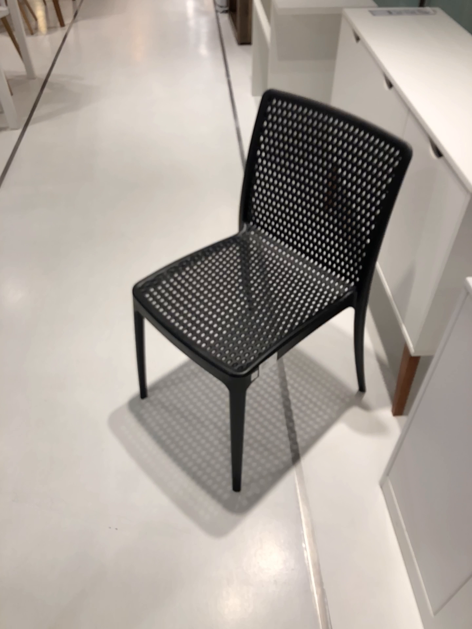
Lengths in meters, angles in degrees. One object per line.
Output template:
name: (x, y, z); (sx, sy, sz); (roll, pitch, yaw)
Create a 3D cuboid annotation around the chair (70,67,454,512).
chair: (0.059, -0.059, 1.393); (0.602, 0.864, 0.532); (-35, 54, -30)
